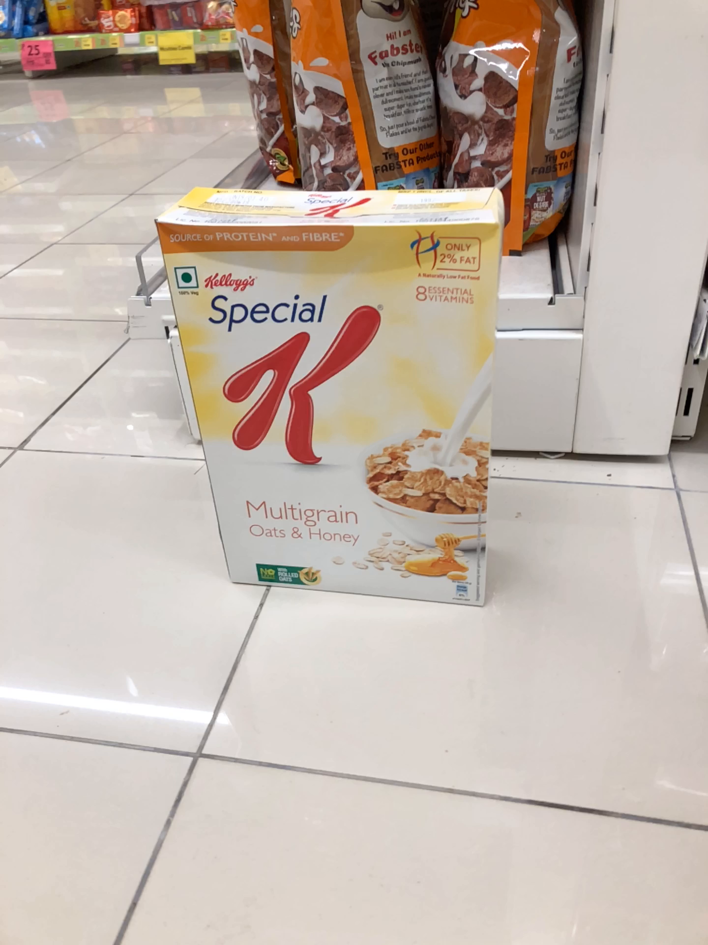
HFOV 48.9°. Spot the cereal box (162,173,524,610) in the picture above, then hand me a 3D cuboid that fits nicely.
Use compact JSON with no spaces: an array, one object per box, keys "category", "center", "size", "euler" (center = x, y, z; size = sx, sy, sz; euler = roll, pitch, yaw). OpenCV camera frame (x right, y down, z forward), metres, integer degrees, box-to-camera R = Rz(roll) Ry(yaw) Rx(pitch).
[{"category":"cereal box","center":[0.001,-0.044,0.506],"size":[0.190,0.268,0.071],"euler":[5,34,10]}]
